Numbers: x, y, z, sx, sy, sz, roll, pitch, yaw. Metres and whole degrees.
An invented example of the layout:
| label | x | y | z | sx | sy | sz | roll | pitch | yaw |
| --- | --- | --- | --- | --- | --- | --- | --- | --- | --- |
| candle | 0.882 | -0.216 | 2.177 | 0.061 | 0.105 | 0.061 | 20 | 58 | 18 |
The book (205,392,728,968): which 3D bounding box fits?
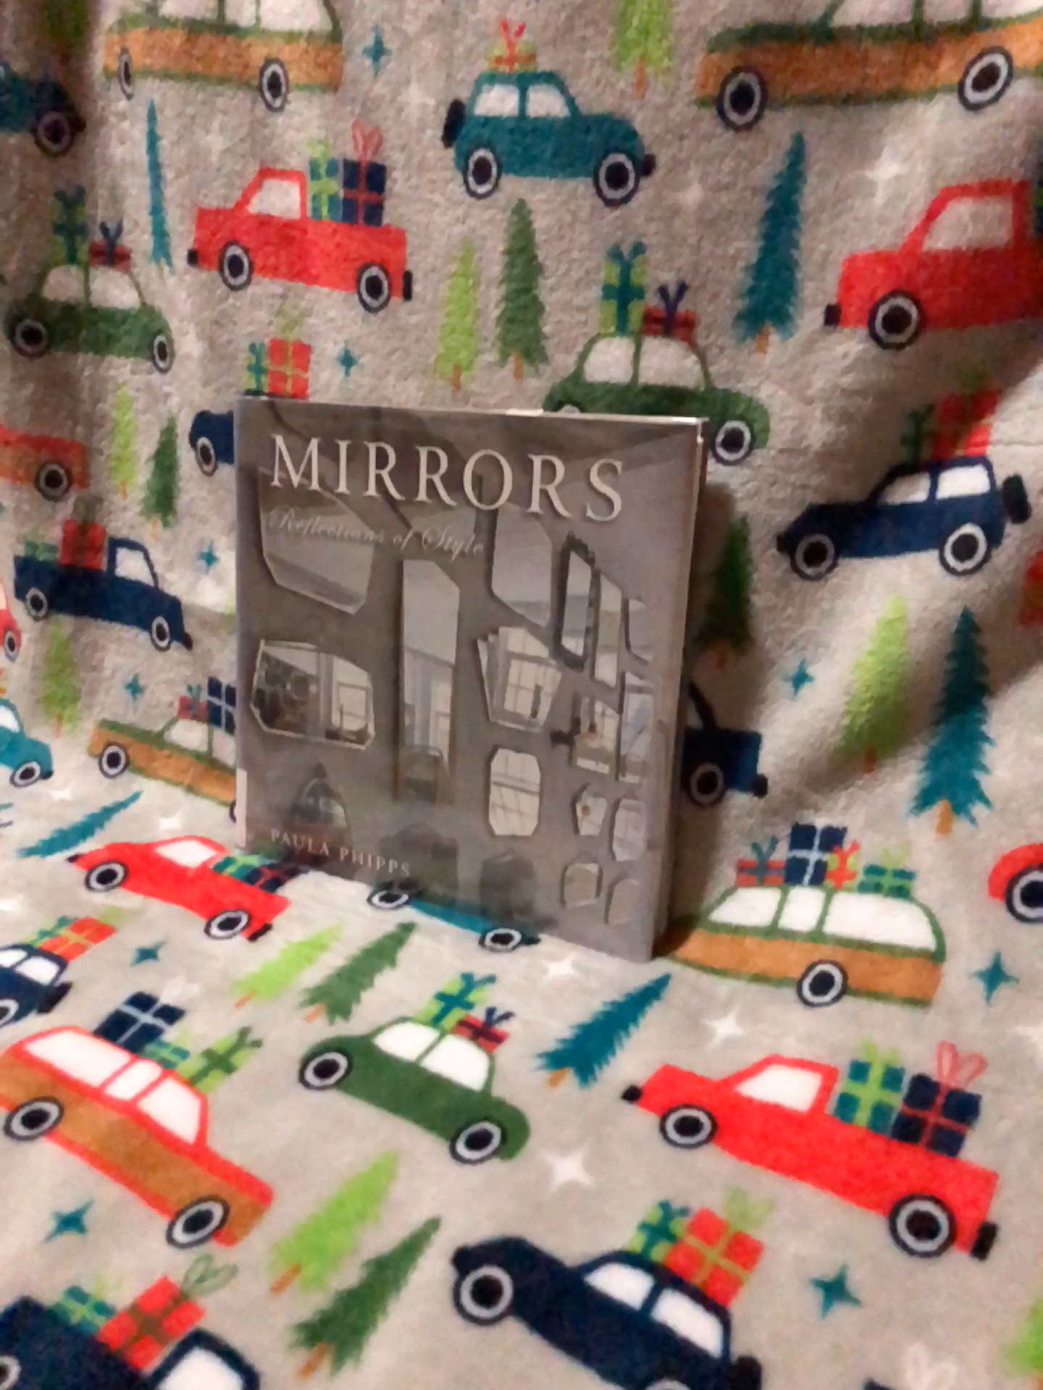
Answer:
| label | x | y | z | sx | sy | sz | roll | pitch | yaw |
| --- | --- | --- | --- | --- | --- | --- | --- | --- | --- |
| book | -0.035 | -0.015 | 0.483 | 0.223 | 0.208 | 0.030 | 10 | 16 | 26 |
